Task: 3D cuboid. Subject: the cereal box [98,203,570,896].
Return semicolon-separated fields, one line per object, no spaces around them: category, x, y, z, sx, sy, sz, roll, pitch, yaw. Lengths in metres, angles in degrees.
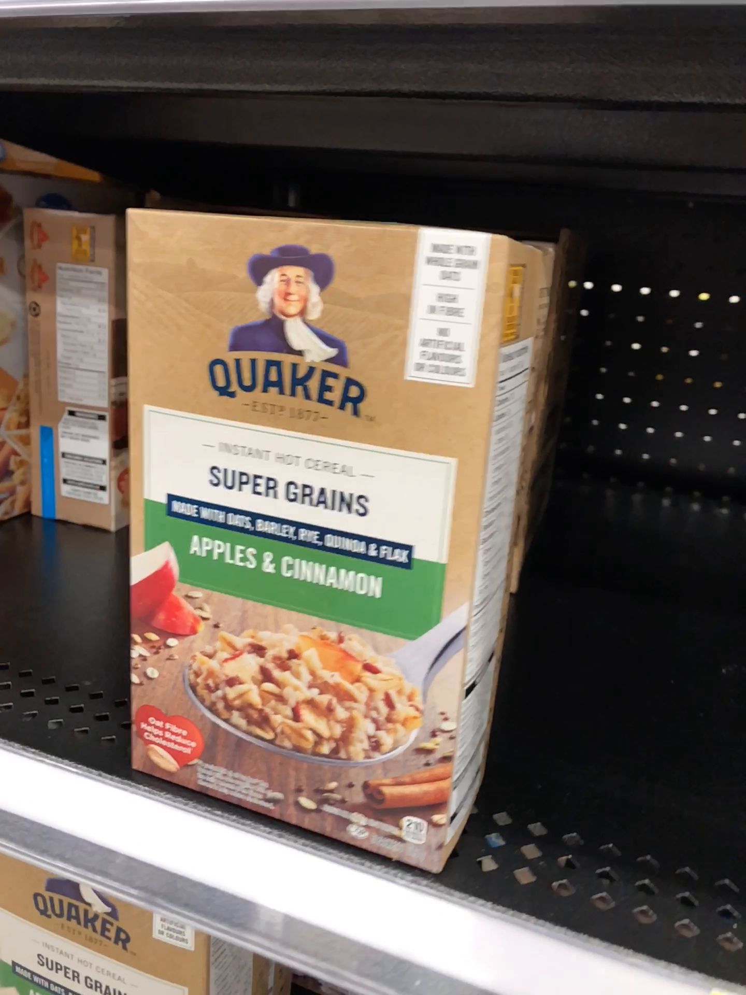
cereal box;-0.018;0.011;0.280;0.130;0.199;0.060;11;18;19
